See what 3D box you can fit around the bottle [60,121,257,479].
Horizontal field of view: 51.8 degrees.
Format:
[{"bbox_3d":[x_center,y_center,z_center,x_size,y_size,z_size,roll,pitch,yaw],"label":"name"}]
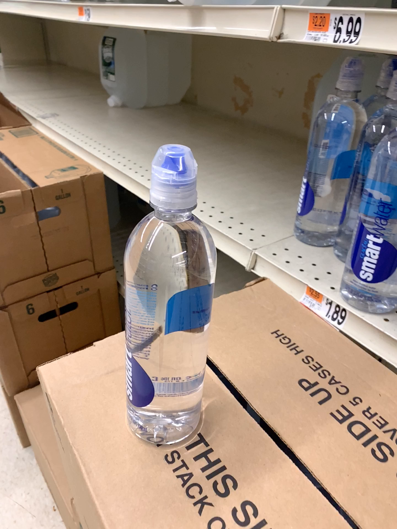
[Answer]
[{"bbox_3d":[-0.030,0.033,0.312,0.090,0.249,0.090,1,32,-1],"label":"bottle"}]
